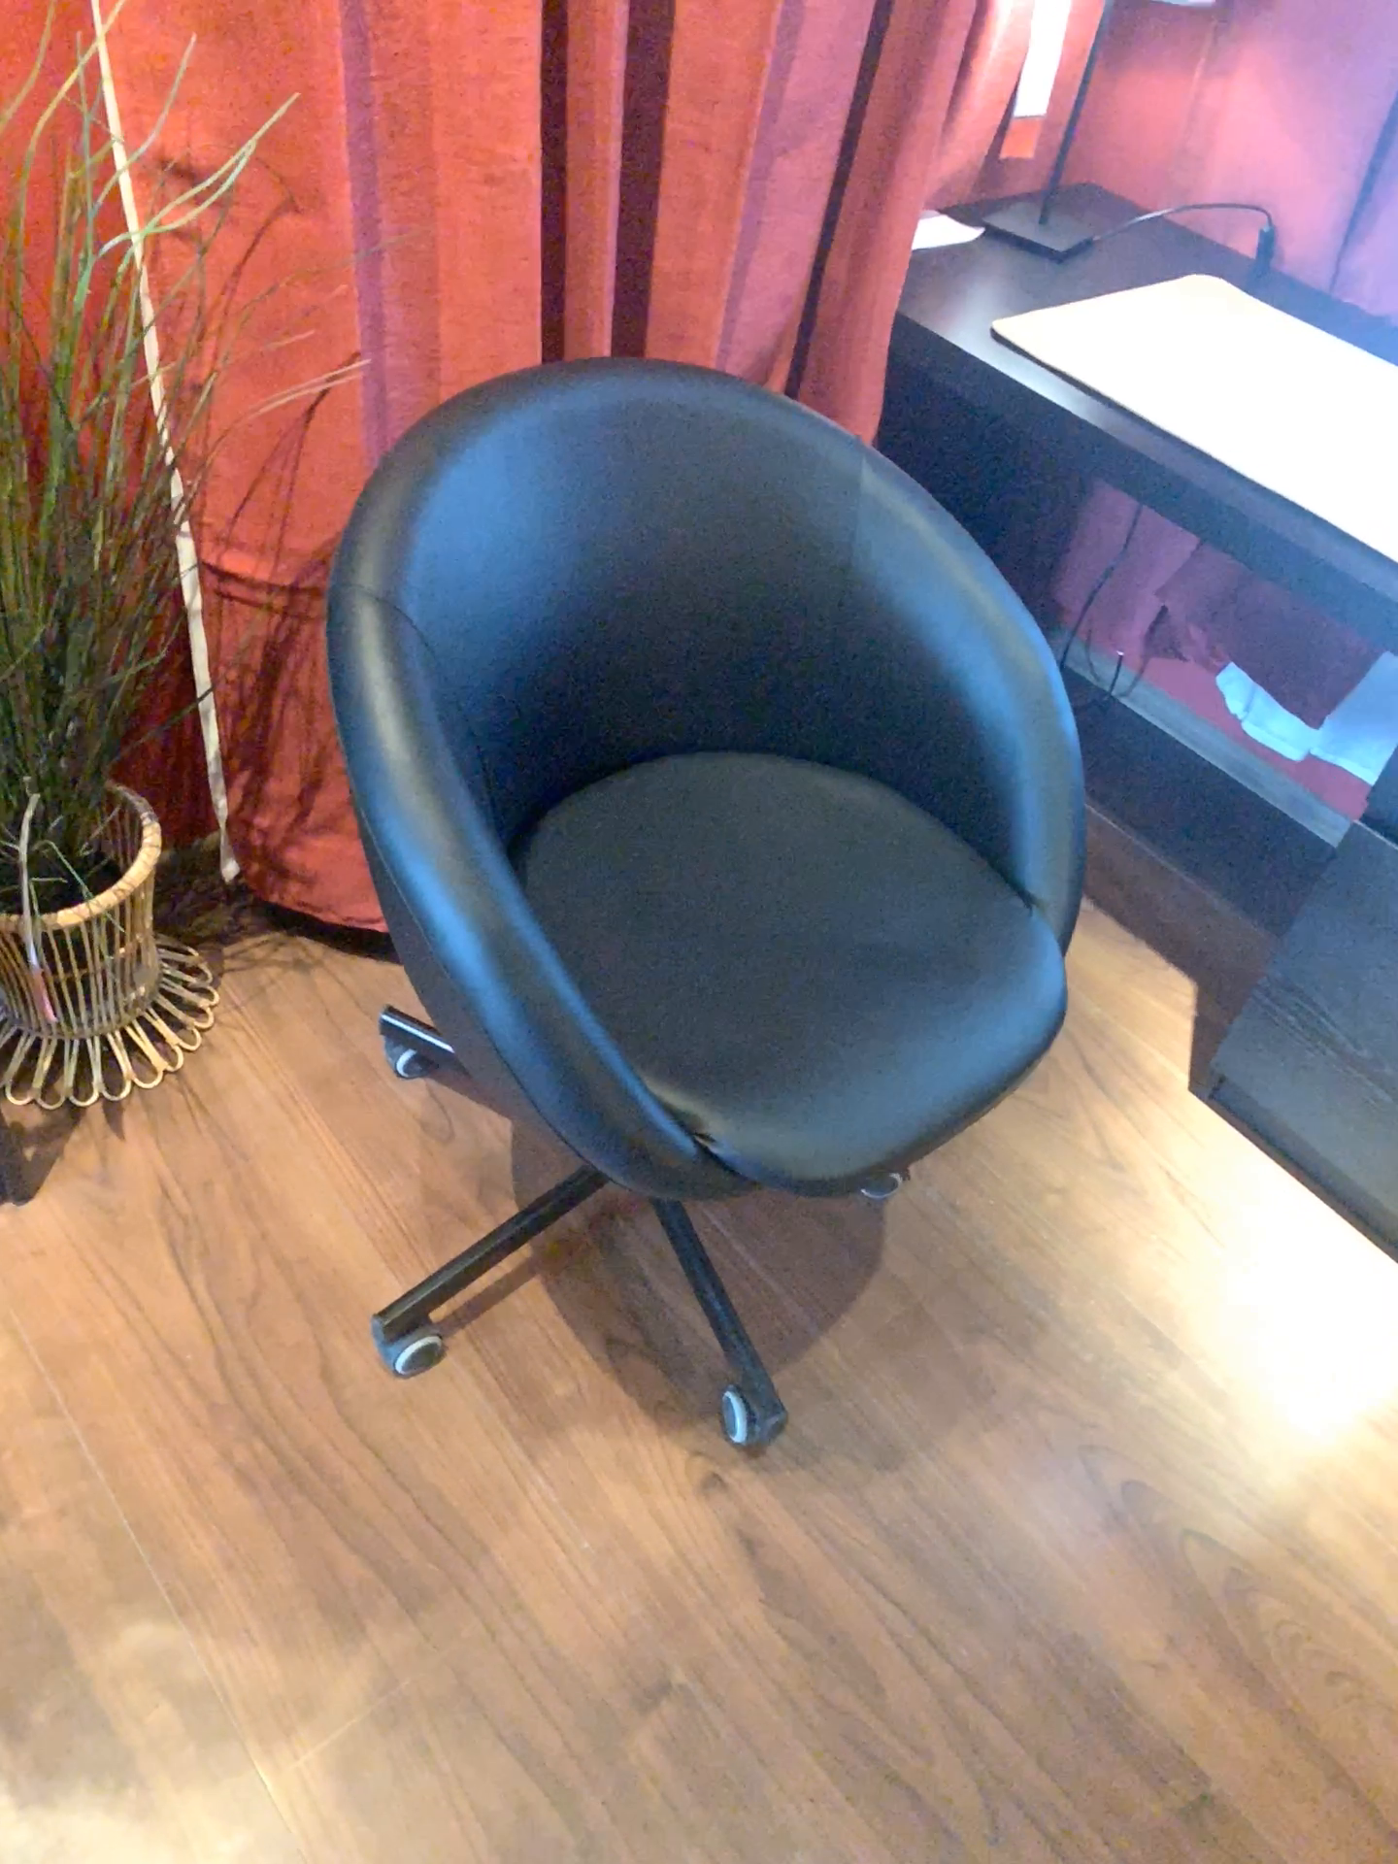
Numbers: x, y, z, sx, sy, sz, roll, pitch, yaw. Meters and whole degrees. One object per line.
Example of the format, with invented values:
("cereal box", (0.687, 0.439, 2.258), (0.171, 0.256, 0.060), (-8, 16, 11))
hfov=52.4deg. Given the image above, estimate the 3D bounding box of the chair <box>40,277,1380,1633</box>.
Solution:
("chair", (-0.031, -0.012, 1.258), (0.672, 0.757, 0.671), (-29, 58, -34))
